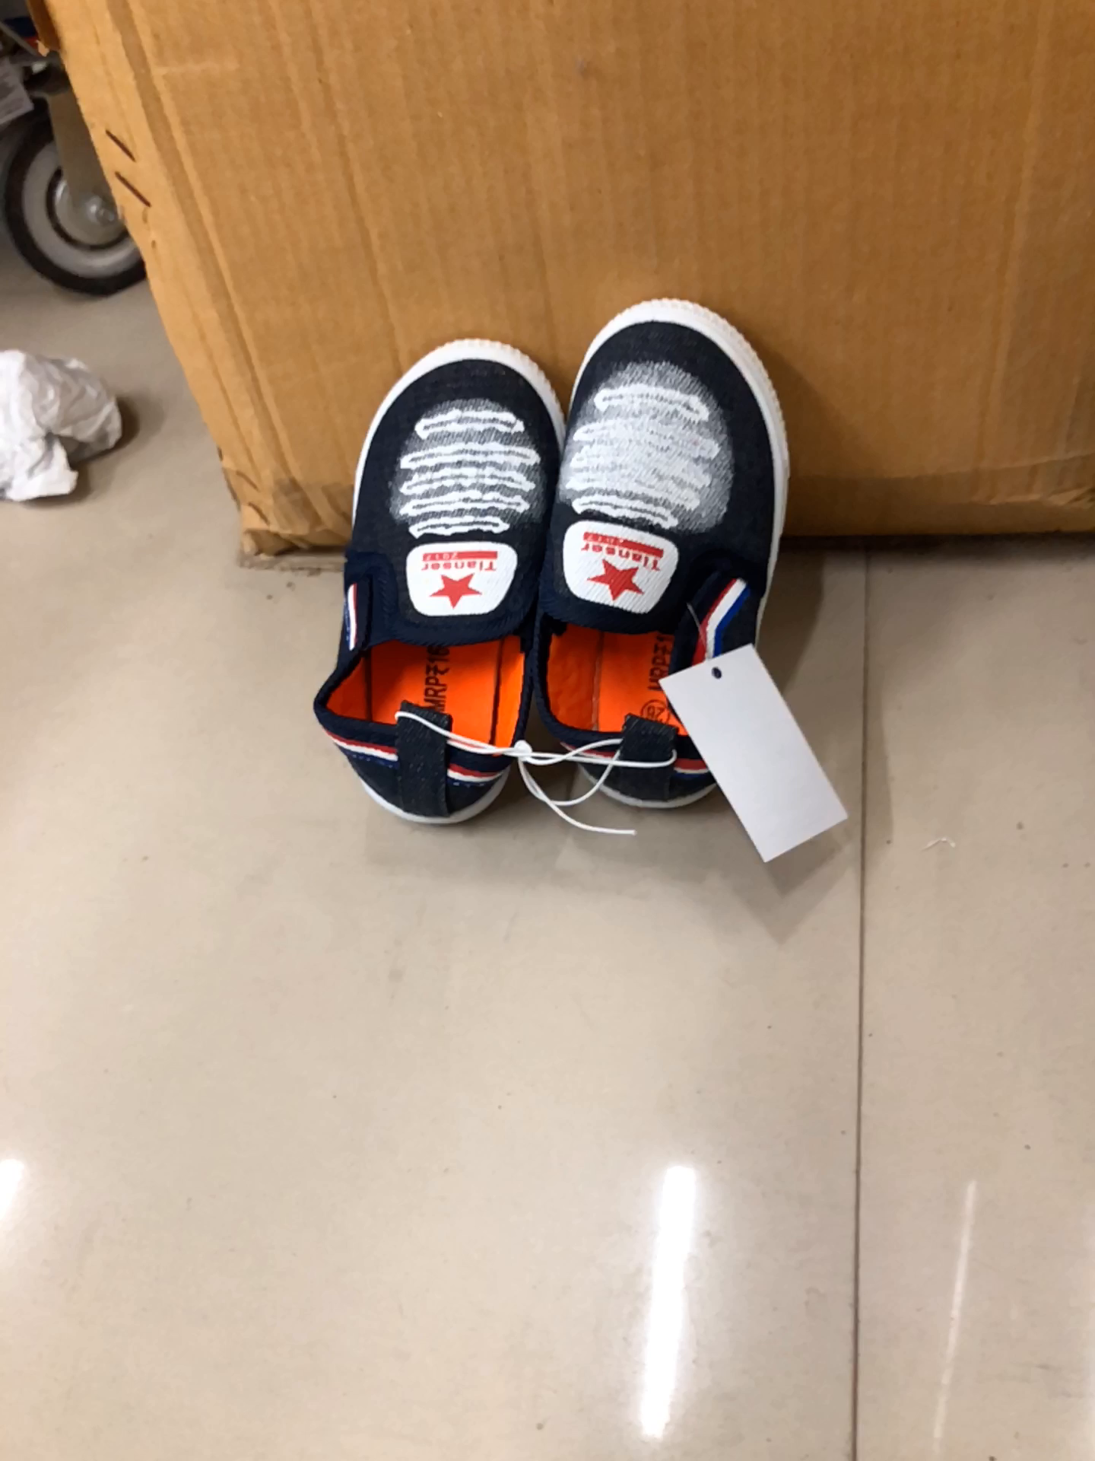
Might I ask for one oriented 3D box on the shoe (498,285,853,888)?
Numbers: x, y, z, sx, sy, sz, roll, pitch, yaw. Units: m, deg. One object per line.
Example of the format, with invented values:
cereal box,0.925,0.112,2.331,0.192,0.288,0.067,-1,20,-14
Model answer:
shoe,0.040,-0.047,0.372,0.080,0.160,0.081,7,13,19
